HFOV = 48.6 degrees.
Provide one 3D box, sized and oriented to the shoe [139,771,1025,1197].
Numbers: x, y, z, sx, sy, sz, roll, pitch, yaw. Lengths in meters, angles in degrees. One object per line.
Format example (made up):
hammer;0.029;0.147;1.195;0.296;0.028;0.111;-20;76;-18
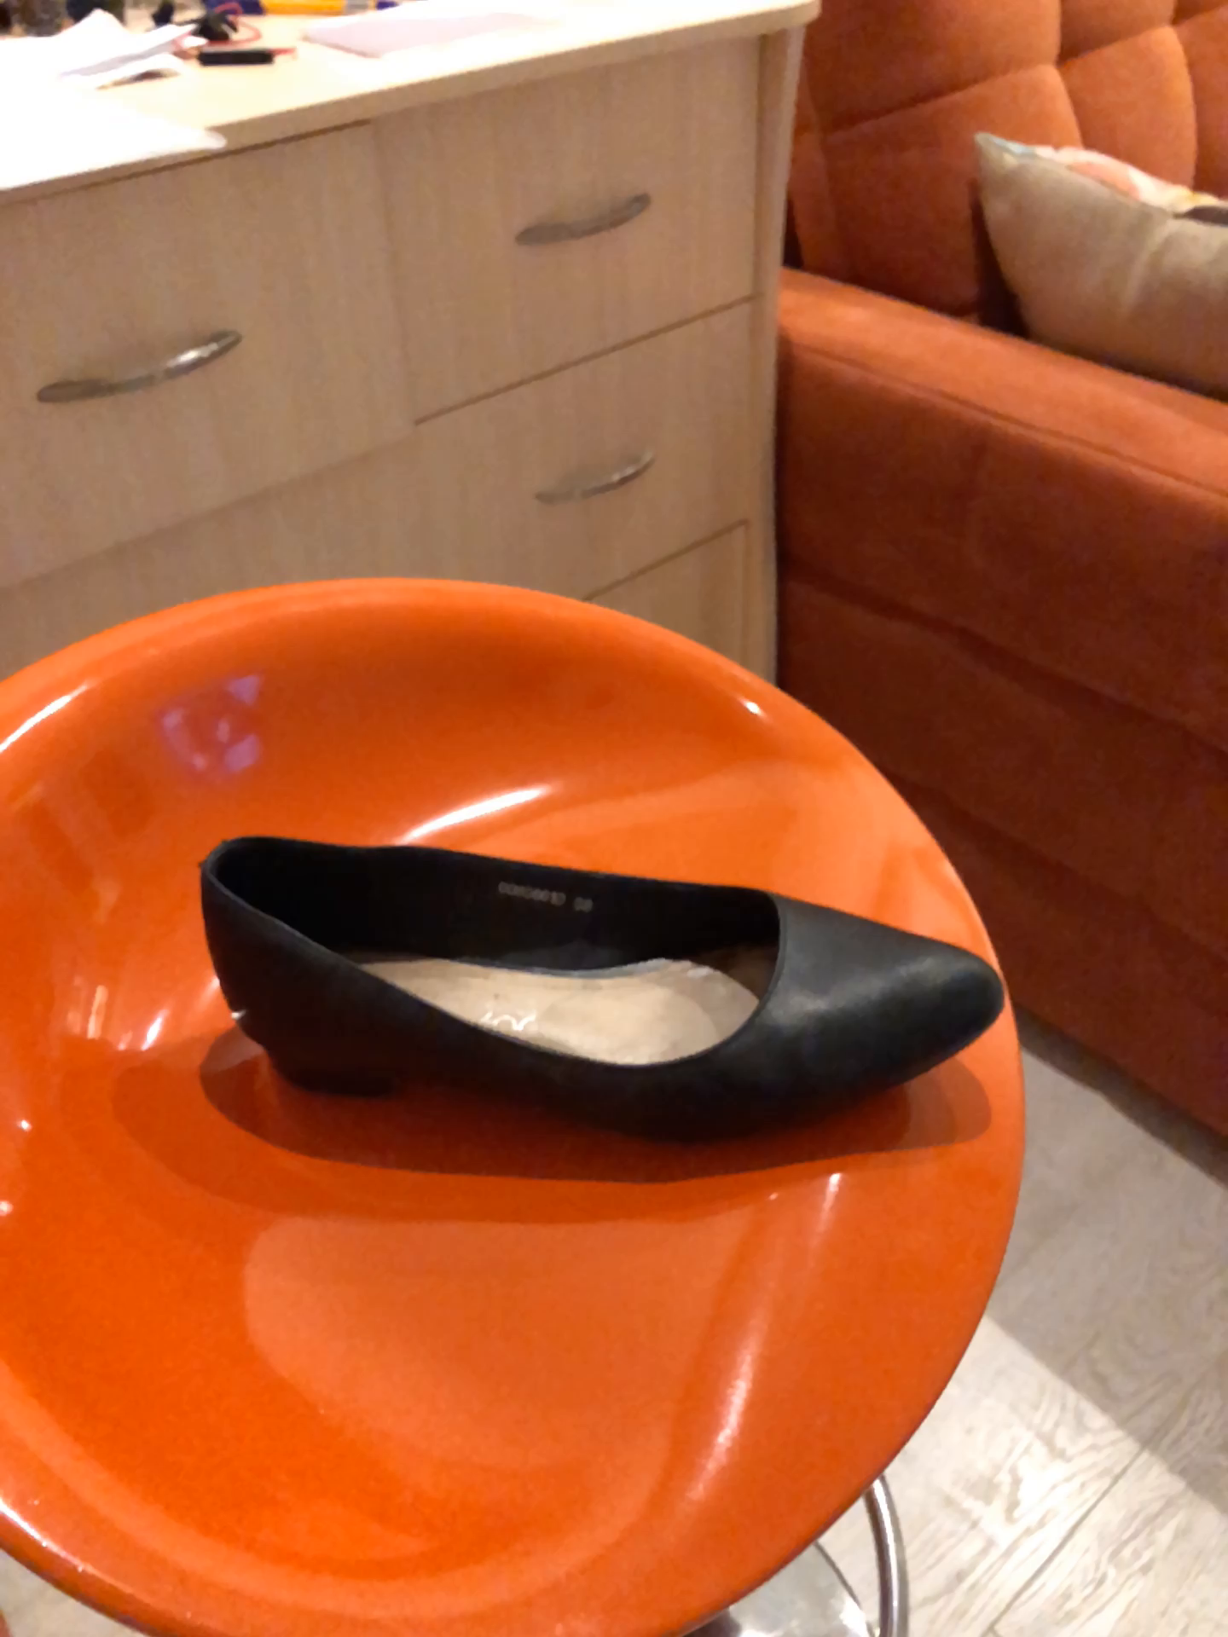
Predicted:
shoe;-0.007;0.051;0.452;0.260;0.079;0.091;4;40;9
